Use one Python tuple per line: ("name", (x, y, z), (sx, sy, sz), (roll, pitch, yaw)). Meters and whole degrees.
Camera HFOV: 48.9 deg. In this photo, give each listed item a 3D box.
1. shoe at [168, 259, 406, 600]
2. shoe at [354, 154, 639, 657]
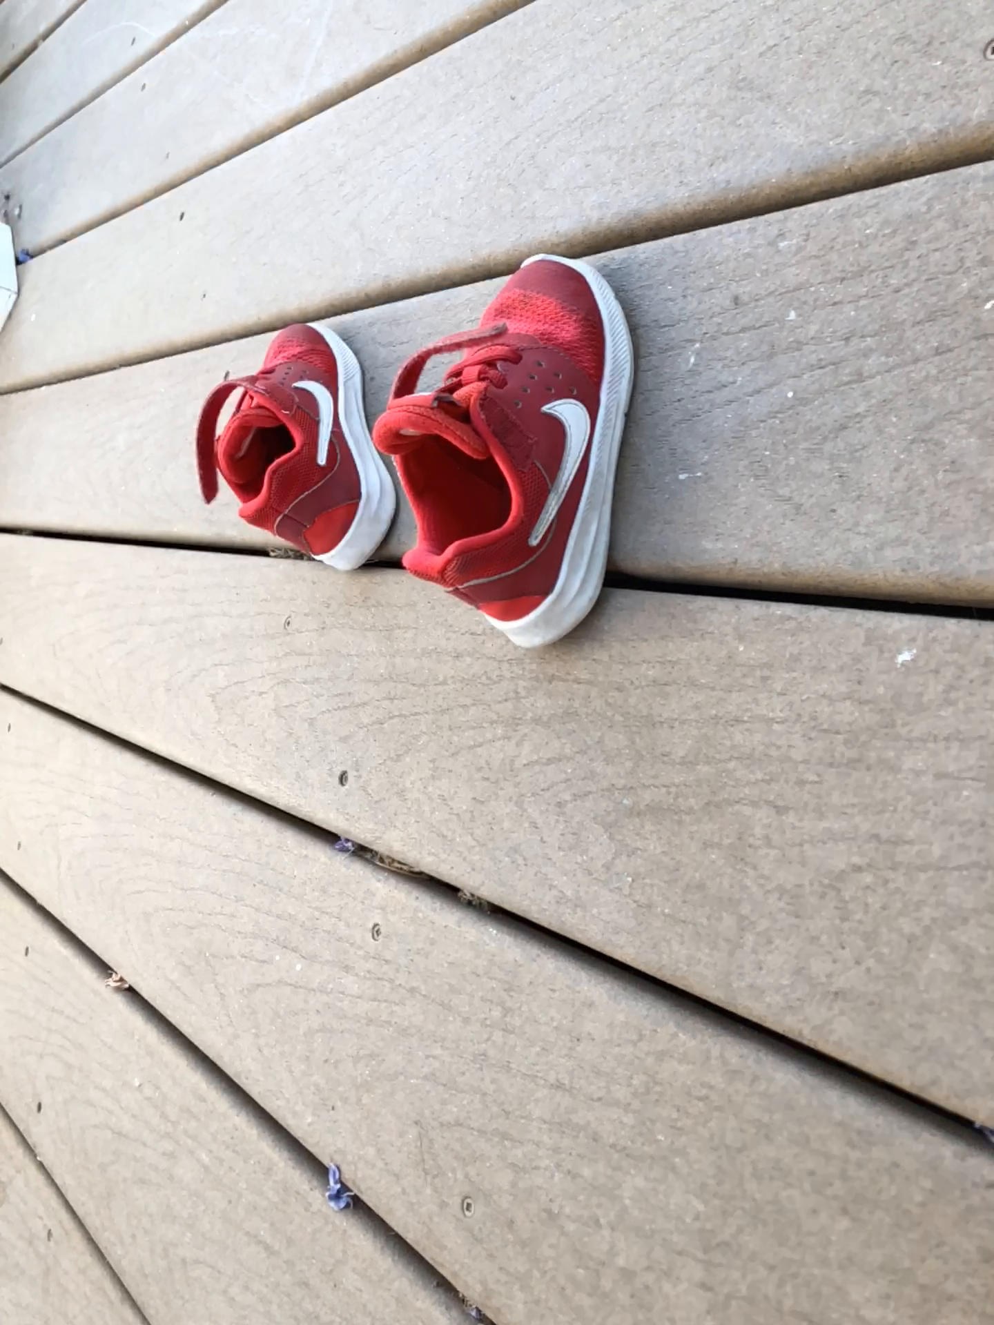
("shoe", (-0.113, -0.121, 0.565), (0.073, 0.069, 0.153), (-43, 50, 32))
("shoe", (0.002, -0.093, 0.424), (0.070, 0.069, 0.164), (-9, 72, 47))
